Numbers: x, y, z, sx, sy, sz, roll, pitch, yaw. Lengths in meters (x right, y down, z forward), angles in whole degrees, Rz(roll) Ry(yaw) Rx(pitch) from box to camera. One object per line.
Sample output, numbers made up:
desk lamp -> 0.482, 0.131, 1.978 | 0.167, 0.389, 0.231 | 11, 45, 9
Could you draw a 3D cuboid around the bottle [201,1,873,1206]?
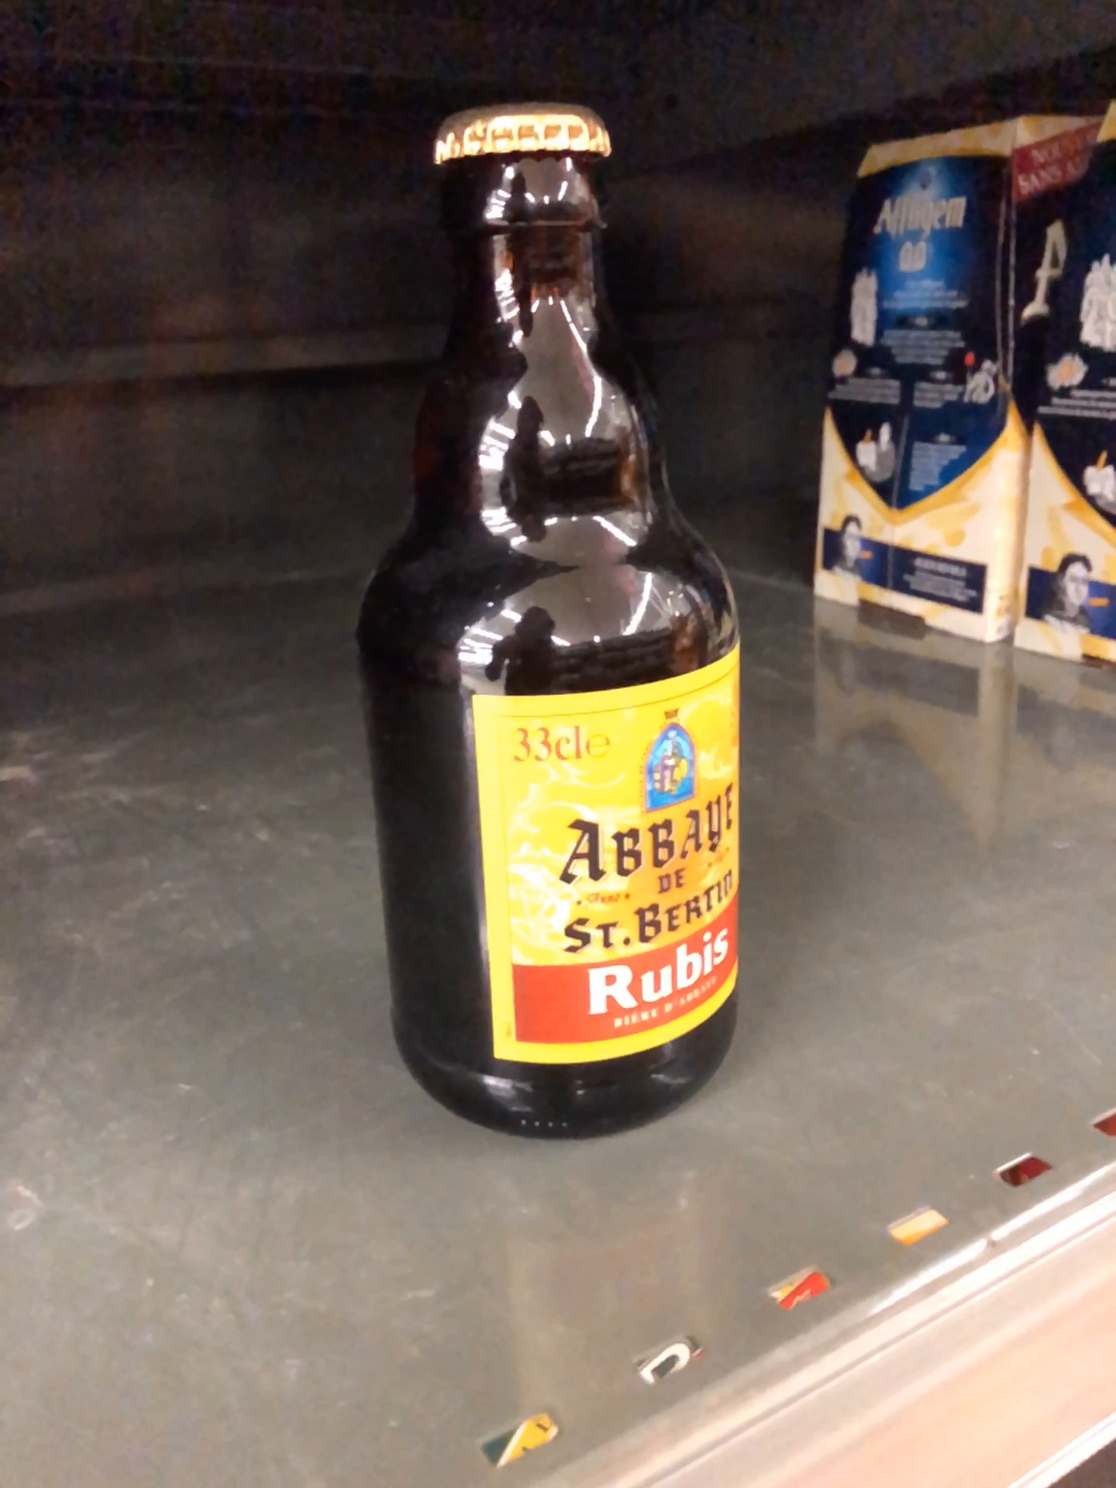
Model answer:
bottle -> -0.002, -0.024, 0.219 | 0.080, 0.169, 0.070 | -13, 21, -28
